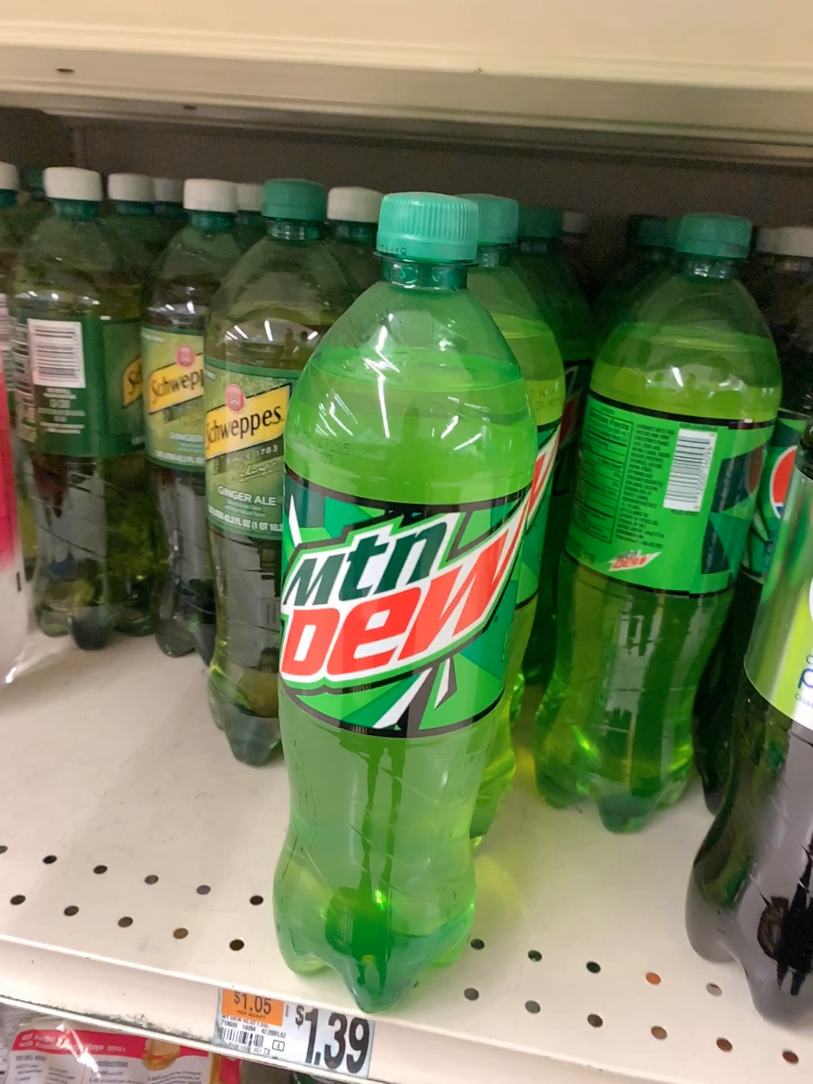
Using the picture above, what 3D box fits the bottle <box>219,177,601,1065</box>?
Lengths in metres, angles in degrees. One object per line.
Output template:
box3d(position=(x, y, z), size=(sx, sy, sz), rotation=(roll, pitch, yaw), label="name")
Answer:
box3d(position=(-0.003, 0.034, 0.312), size=(0.100, 0.302, 0.090), rotation=(9, 22, 11), label="bottle")
